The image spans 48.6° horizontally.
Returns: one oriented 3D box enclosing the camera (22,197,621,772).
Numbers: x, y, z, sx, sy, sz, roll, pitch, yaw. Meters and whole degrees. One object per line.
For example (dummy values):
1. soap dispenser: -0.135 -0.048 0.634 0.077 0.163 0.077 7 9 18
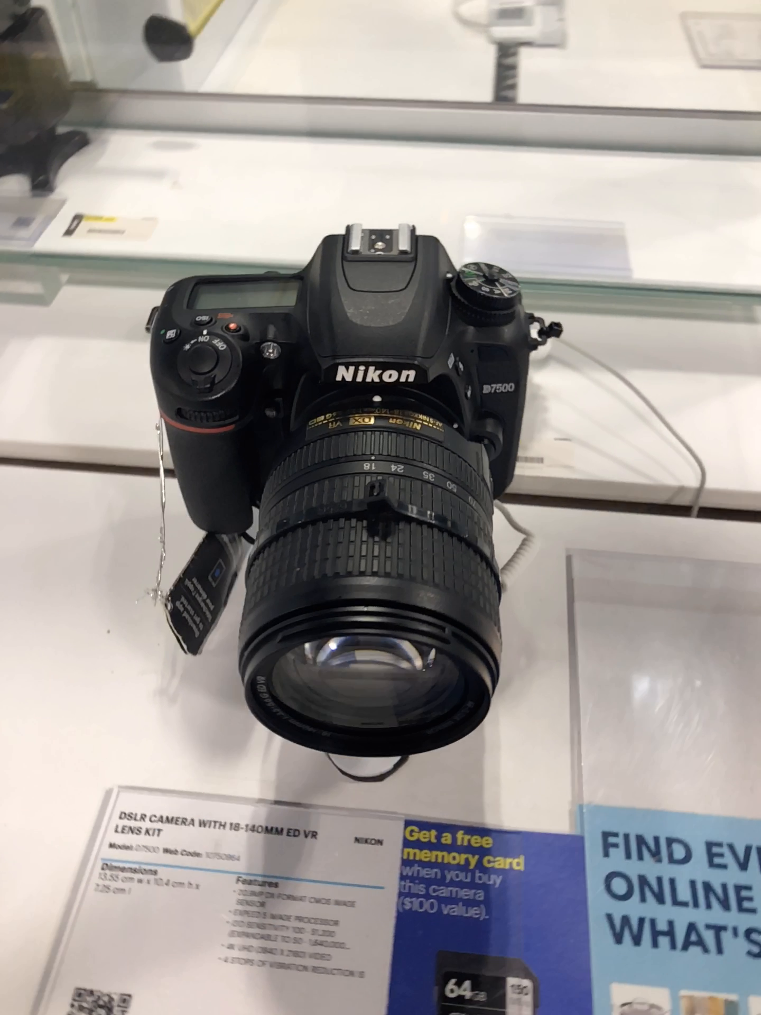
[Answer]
1. camera: -0.012 -0.020 0.294 0.140 0.089 0.191 1 47 1
